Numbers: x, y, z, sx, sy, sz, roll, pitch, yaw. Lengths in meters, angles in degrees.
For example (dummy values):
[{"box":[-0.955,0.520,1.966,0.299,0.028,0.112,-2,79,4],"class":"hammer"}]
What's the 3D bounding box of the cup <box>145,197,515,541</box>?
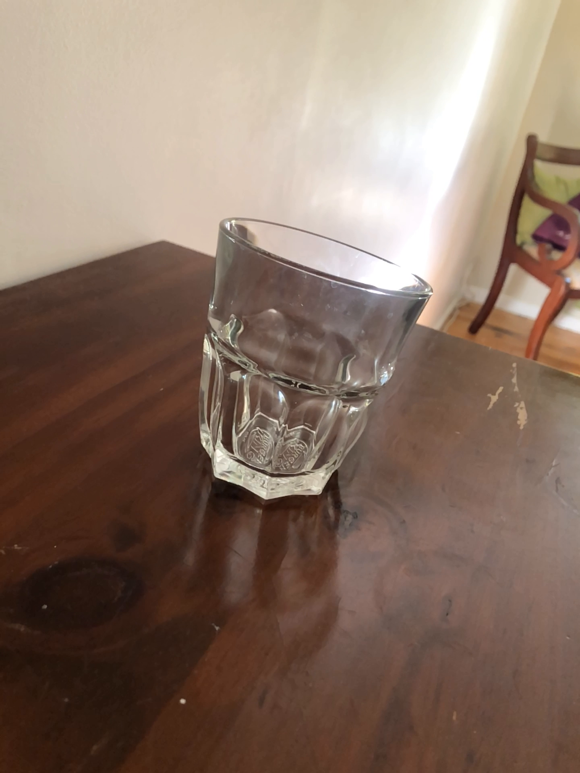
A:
[{"box":[0.010,-0.016,0.264,0.101,0.095,0.090,-10,34,-36],"class":"cup"}]
